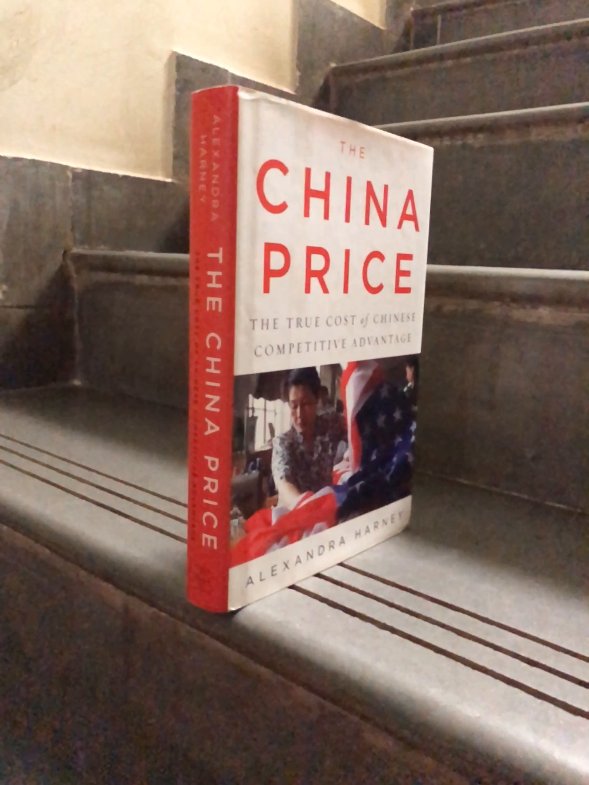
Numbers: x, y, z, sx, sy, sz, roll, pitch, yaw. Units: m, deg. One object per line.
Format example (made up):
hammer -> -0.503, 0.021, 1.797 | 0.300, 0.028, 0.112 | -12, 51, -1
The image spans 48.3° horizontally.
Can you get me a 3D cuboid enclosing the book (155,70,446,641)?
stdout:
book -> 0.013, -0.021, 0.354 | 0.040, 0.239, 0.180 | 9, 13, 40
